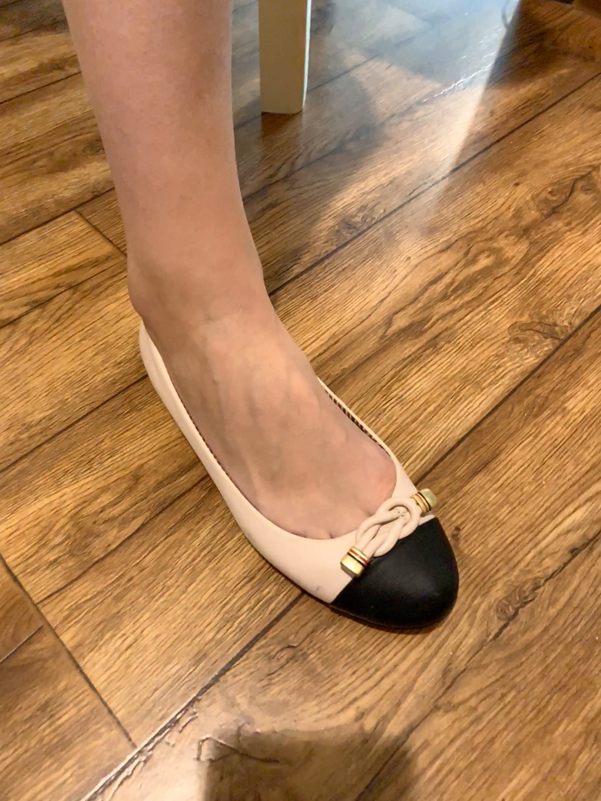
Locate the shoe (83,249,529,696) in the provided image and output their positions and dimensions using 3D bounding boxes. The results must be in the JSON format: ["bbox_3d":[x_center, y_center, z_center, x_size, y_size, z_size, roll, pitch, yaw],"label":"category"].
[{"bbox_3d":[-0.009,0.023,0.313,0.083,0.059,0.220,-35,64,-23],"label":"shoe"}]
